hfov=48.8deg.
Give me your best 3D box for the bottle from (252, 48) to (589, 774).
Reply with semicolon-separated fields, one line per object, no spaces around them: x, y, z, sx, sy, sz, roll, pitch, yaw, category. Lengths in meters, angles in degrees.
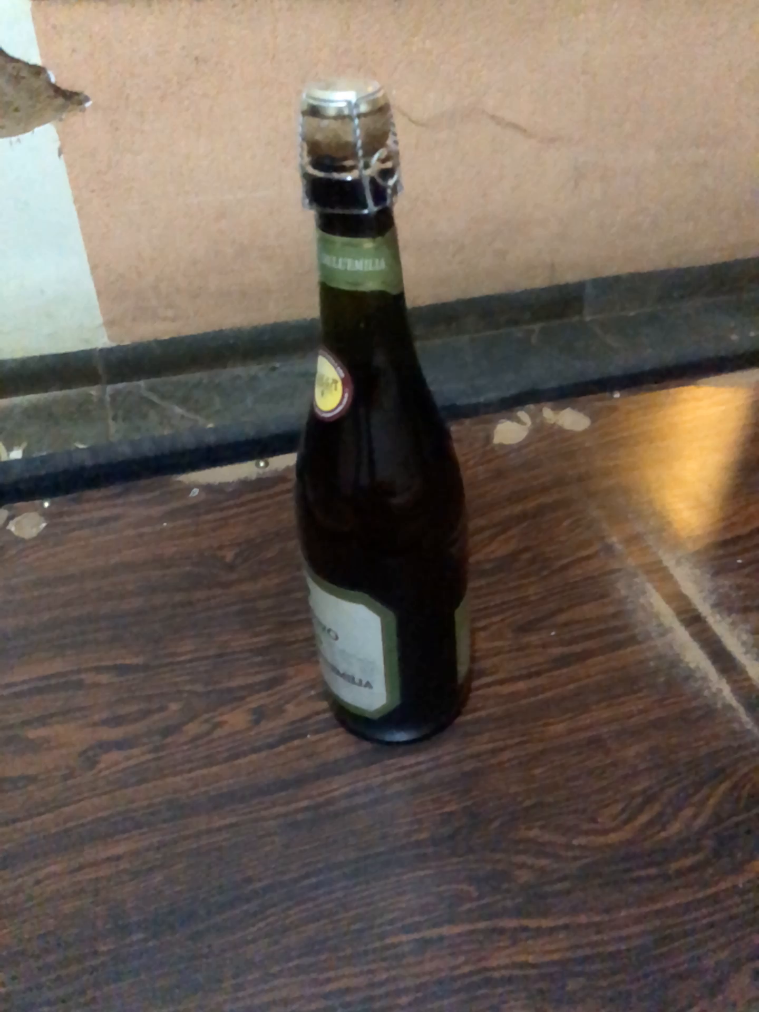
0.007;-0.017;0.355;0.090;0.298;0.091;0;39;0;bottle
